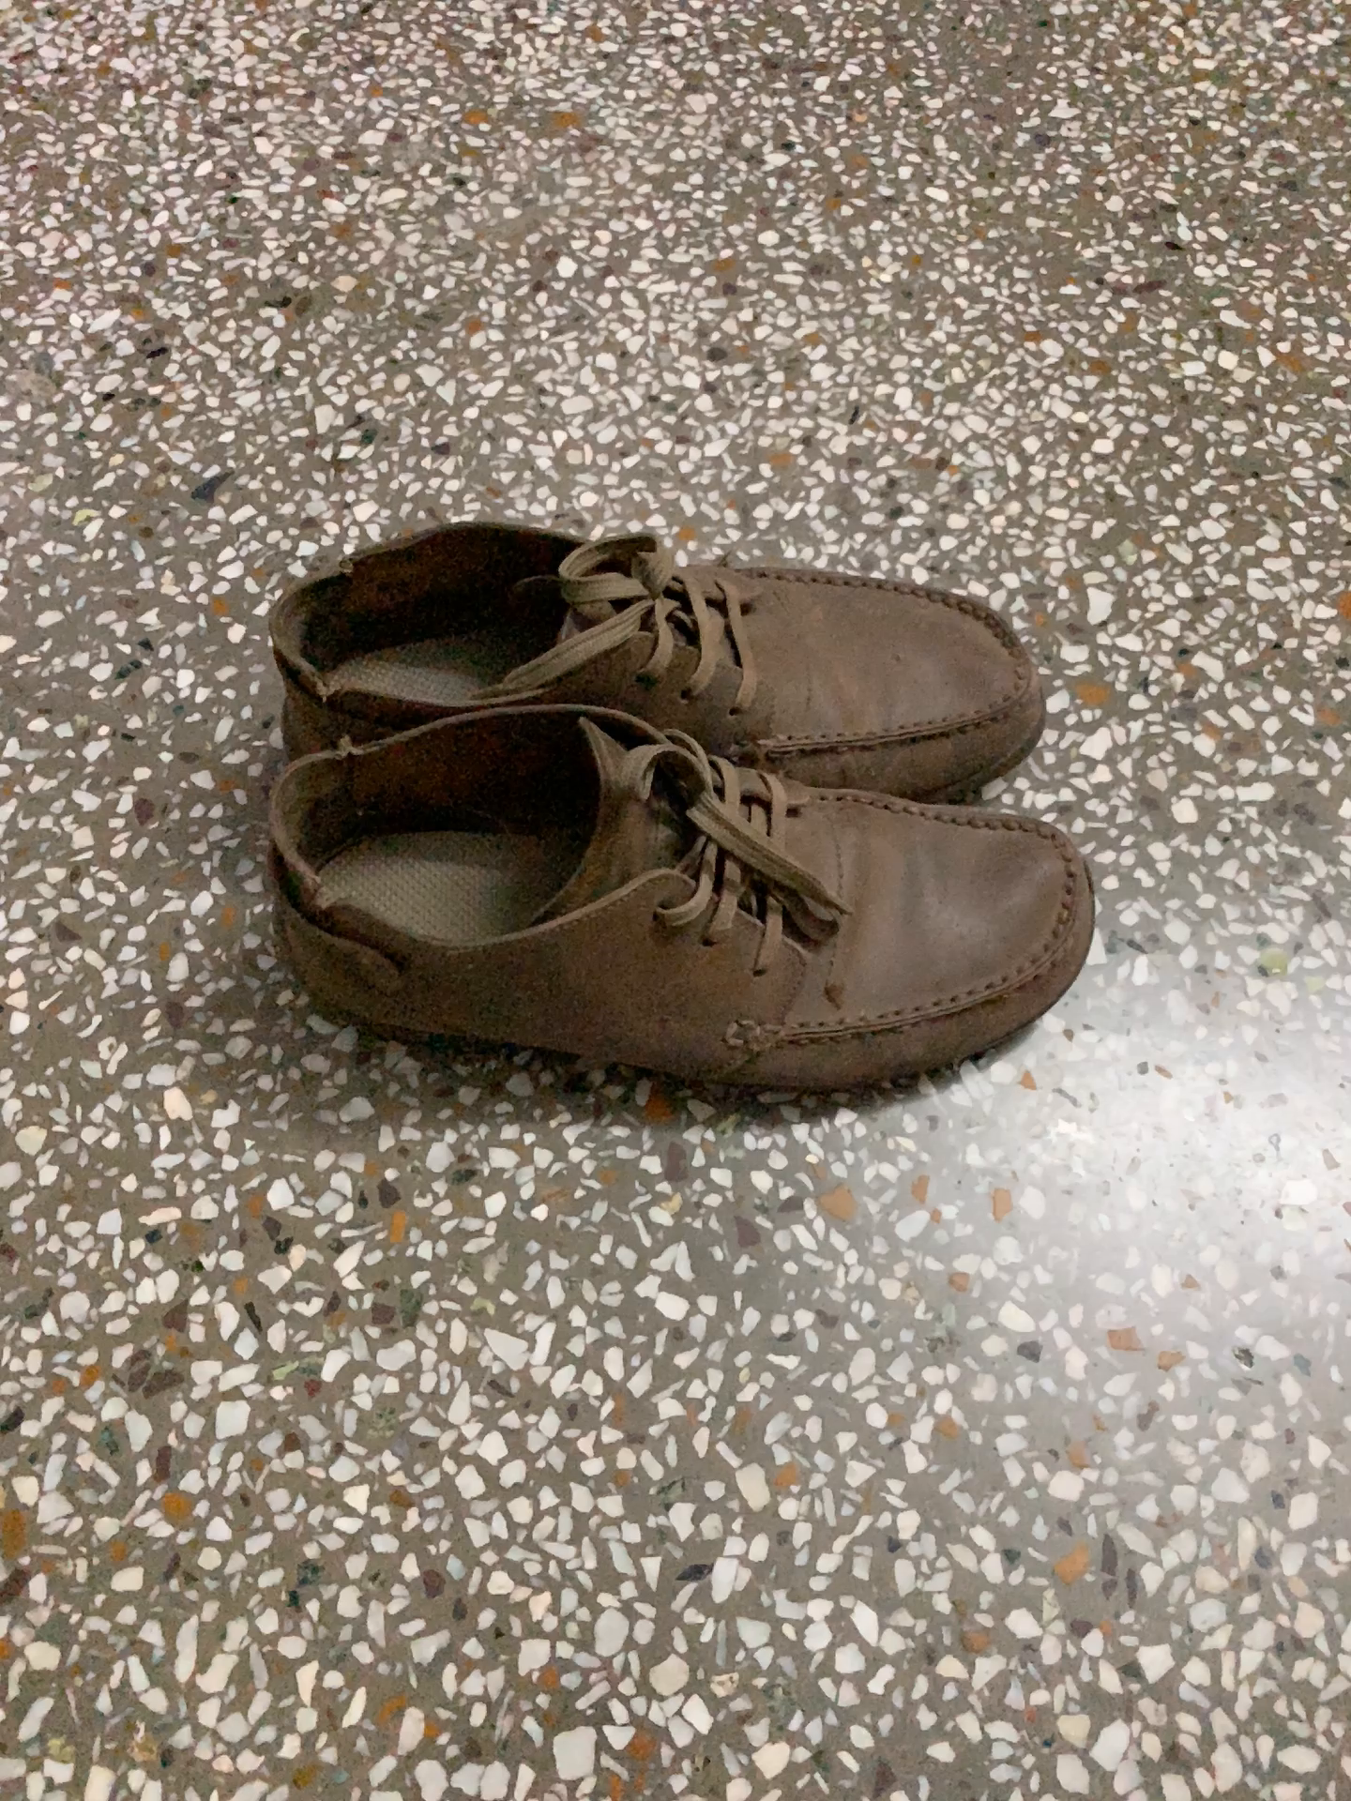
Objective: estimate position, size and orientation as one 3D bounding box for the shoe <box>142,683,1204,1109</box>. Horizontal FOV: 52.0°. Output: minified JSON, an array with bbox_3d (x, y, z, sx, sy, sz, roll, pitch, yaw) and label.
[{"bbox_3d":[-0.002,0.002,0.445,0.290,0.100,0.100,-1,64,-1],"label":"shoe"}]

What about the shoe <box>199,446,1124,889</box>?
[{"bbox_3d":[-0.007,-0.082,0.499,0.290,0.100,0.100,-4,64,-3],"label":"shoe"}]
